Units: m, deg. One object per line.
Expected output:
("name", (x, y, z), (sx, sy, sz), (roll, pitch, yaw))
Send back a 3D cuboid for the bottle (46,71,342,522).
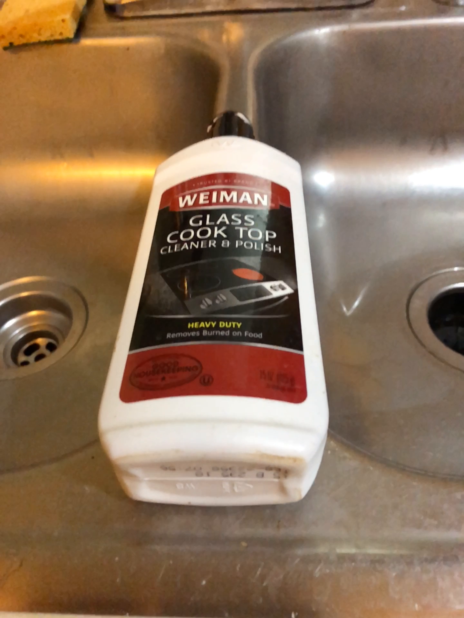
("bottle", (-0.007, -0.033, 0.239), (0.080, 0.050, 0.240), (-2, 47, 4))
